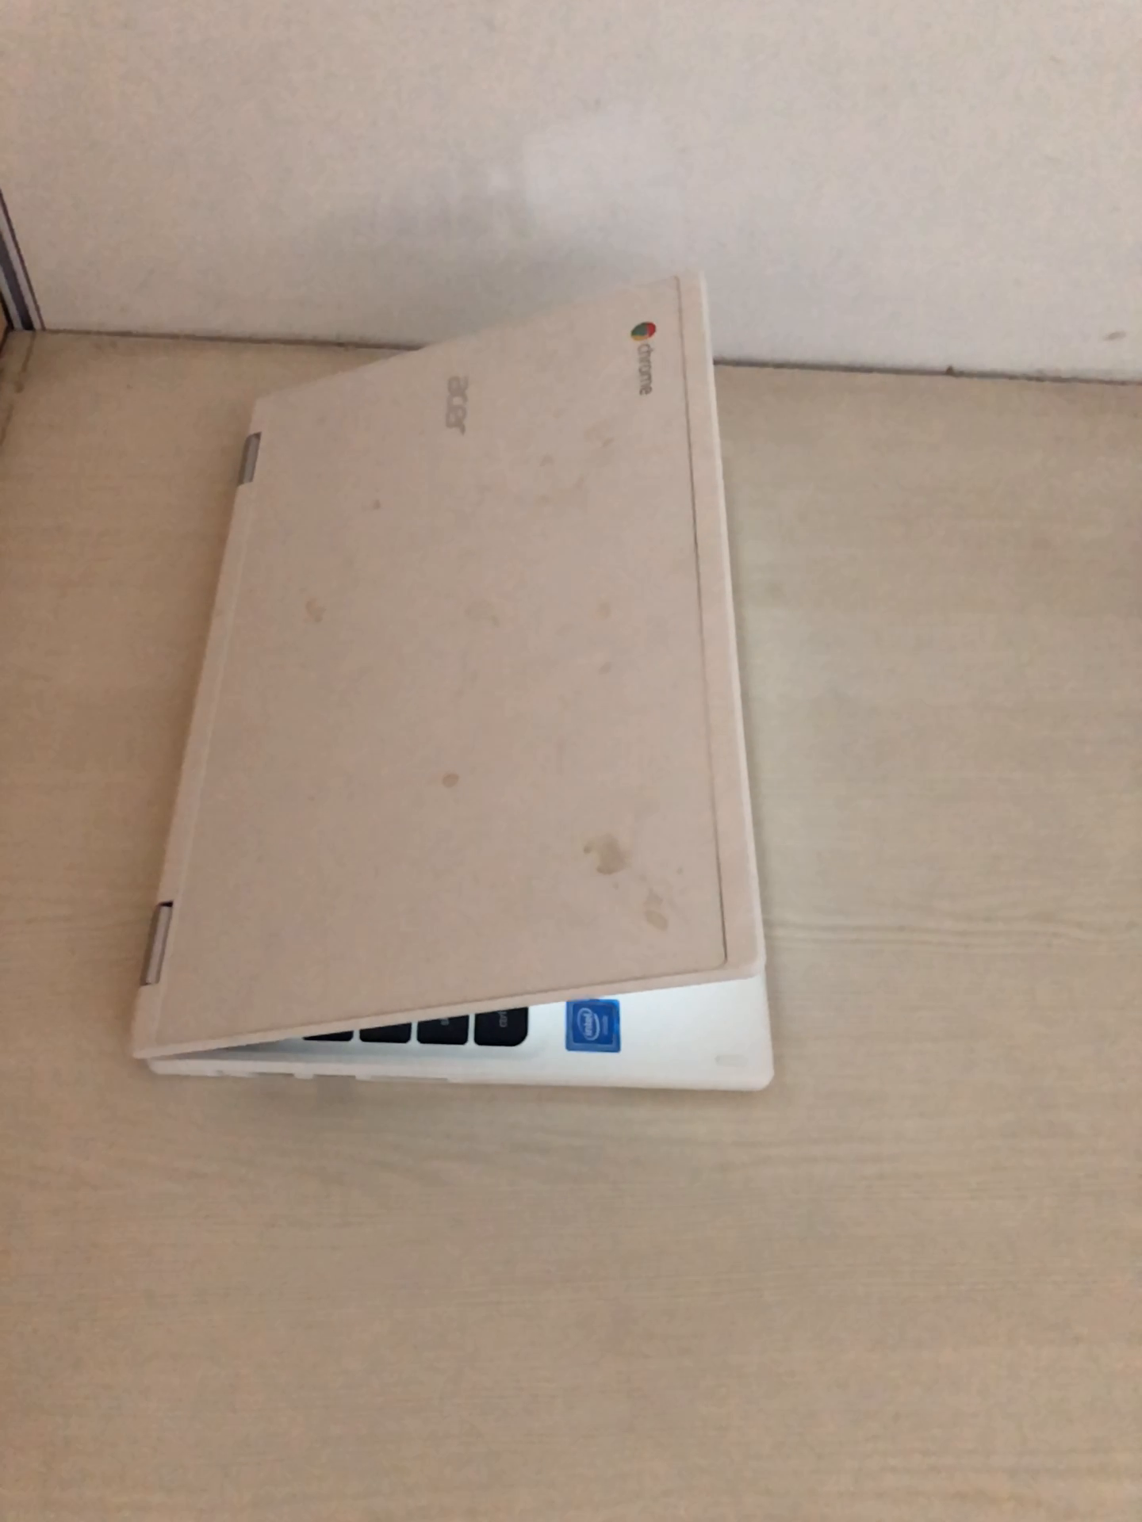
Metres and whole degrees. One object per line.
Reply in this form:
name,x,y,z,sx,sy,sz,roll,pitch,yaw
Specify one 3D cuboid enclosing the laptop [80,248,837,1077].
laptop,-0.031,-0.046,0.448,0.200,0.092,0.284,2,58,-3
